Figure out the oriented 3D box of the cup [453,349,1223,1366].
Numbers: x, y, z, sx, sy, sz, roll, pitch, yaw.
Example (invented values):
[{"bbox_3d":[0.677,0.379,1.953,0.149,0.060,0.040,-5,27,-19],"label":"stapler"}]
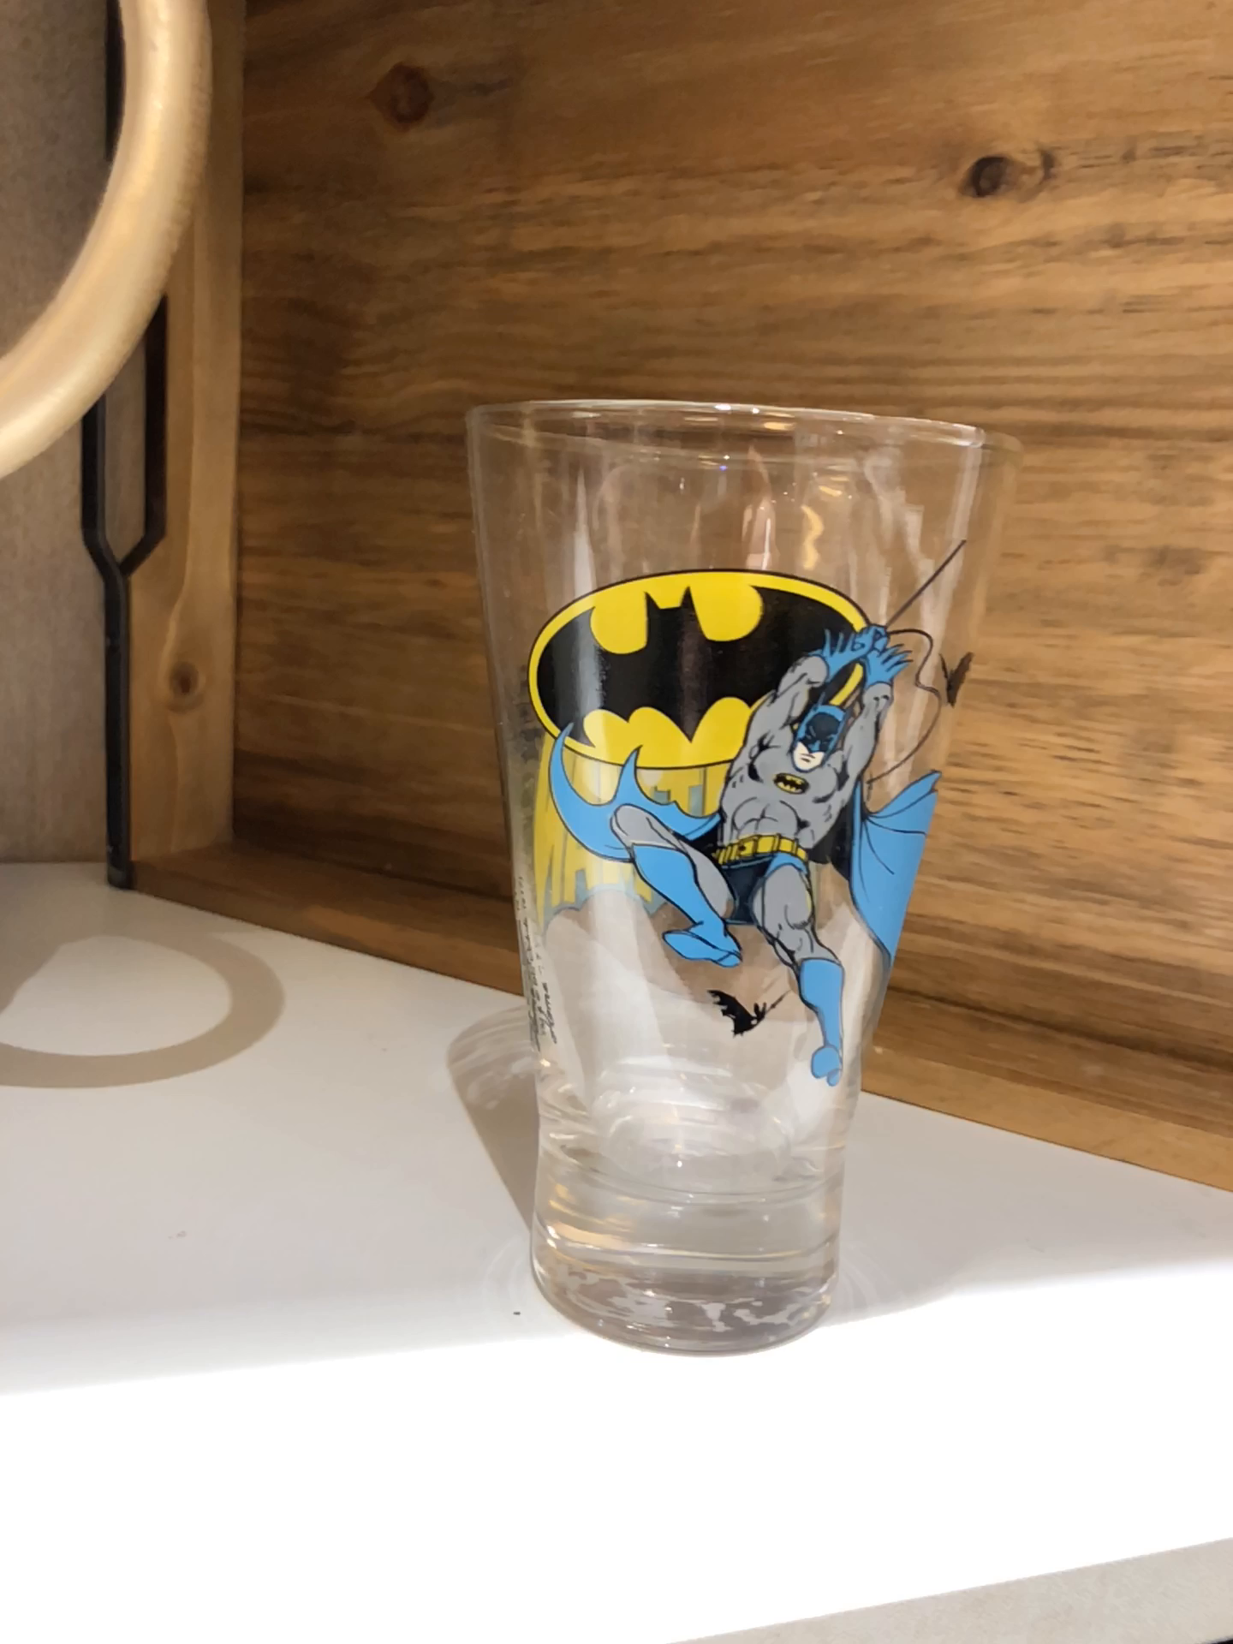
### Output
[{"bbox_3d":[0.022,0.002,0.216,0.090,0.130,0.080,2,11,-8],"label":"cup"}]
